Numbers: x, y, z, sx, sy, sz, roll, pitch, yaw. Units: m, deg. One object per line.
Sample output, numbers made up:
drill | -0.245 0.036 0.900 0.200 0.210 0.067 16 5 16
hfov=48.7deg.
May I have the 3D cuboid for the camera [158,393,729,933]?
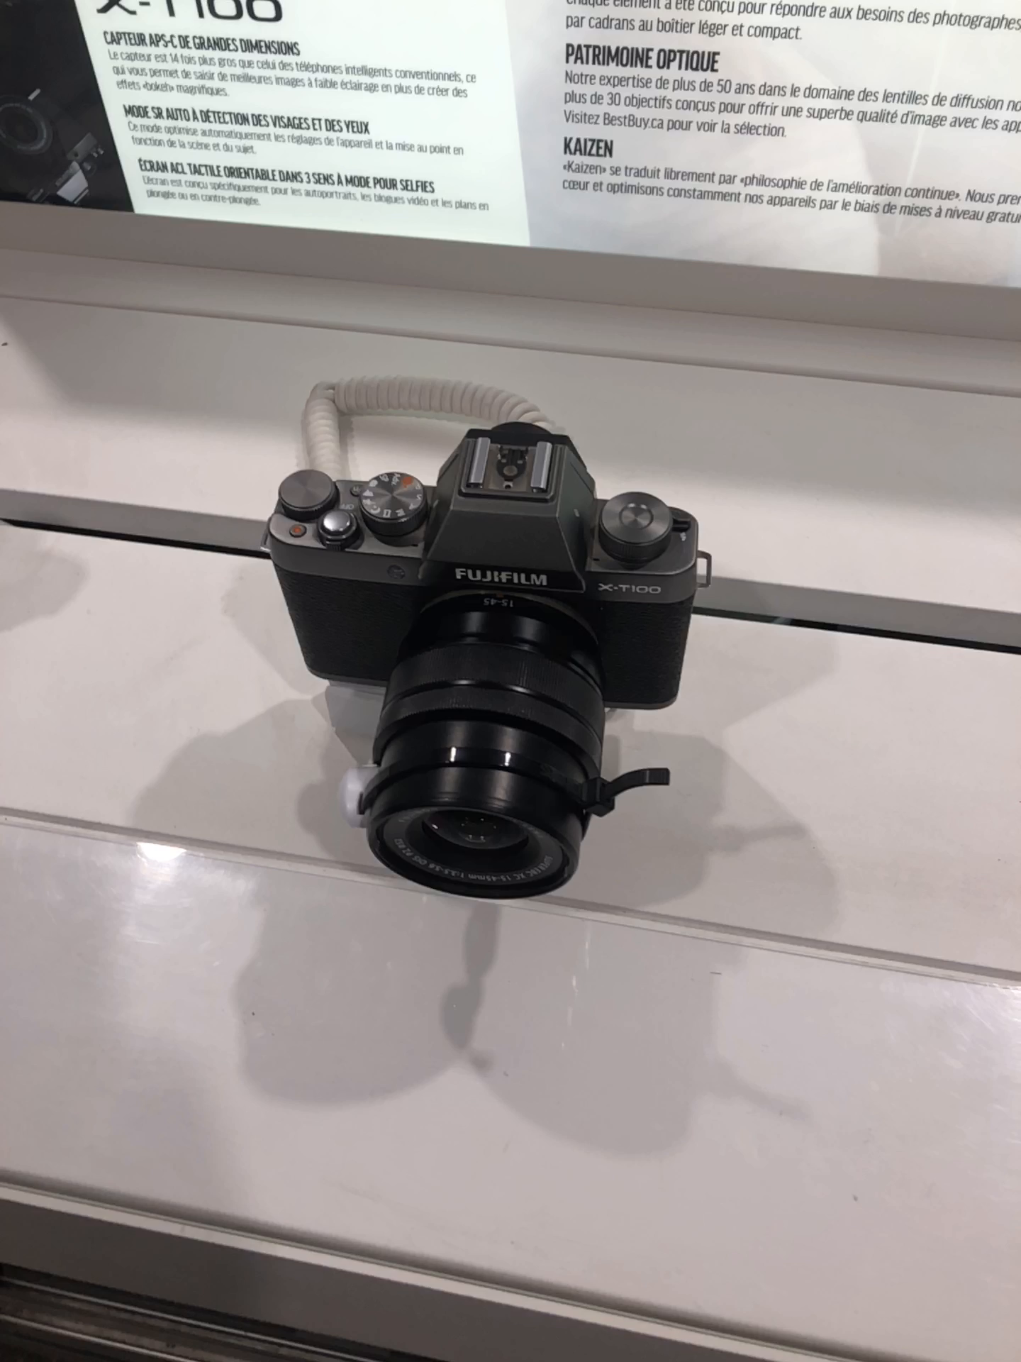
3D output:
camera | -0.010 -0.006 0.334 0.130 0.099 0.108 6 51 8
